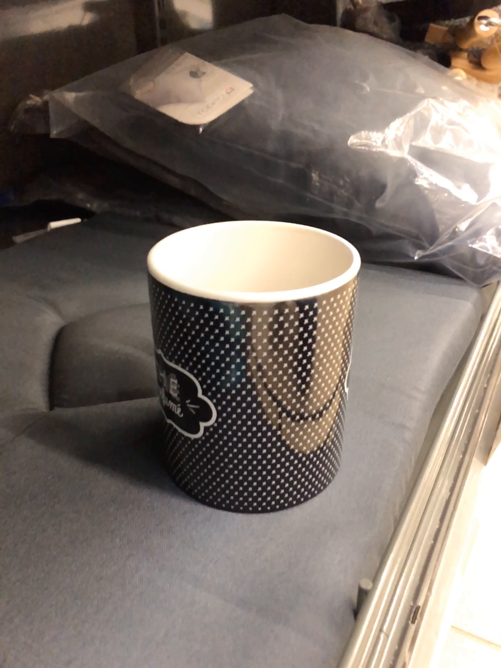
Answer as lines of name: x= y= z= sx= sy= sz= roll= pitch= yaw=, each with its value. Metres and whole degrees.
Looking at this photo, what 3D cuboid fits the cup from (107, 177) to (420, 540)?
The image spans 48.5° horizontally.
cup: x=-0.005 y=-0.002 z=0.245 sx=0.090 sy=0.099 sz=0.120 roll=-9 pitch=29 yaw=-16
